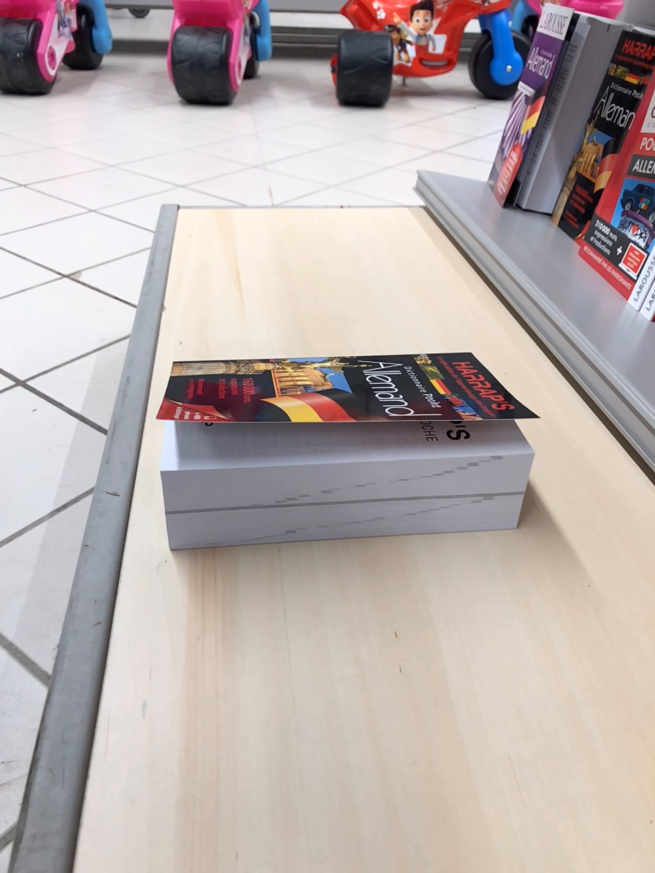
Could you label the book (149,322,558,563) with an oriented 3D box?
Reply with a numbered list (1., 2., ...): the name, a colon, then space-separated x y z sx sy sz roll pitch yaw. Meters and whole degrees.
1. book: 0.006 -0.005 0.380 0.180 0.060 0.123 -2 34 -8
